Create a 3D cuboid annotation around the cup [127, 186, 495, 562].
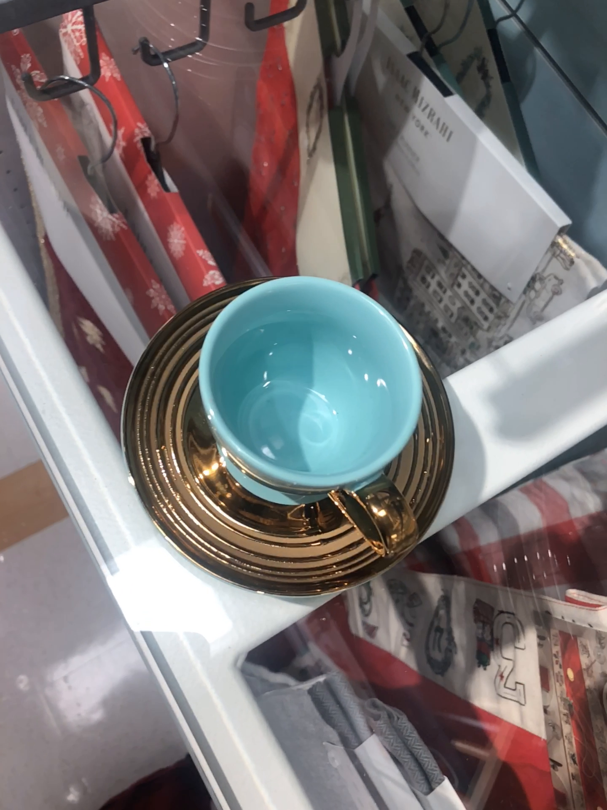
[{"bbox_3d":[-0.001,-0.009,0.214,0.070,0.050,0.084,-31,78,-18],"label":"cup"}]
